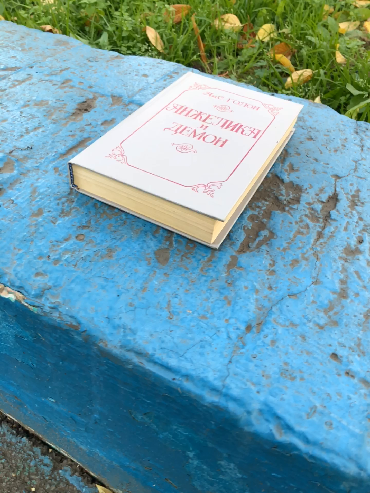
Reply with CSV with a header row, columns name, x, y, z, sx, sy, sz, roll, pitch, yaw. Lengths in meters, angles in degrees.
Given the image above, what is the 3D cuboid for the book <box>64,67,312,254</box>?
name,x,y,z,sx,sy,sz,roll,pitch,yaw
book,0.016,-0.097,0.377,0.140,0.032,0.211,23,48,17
